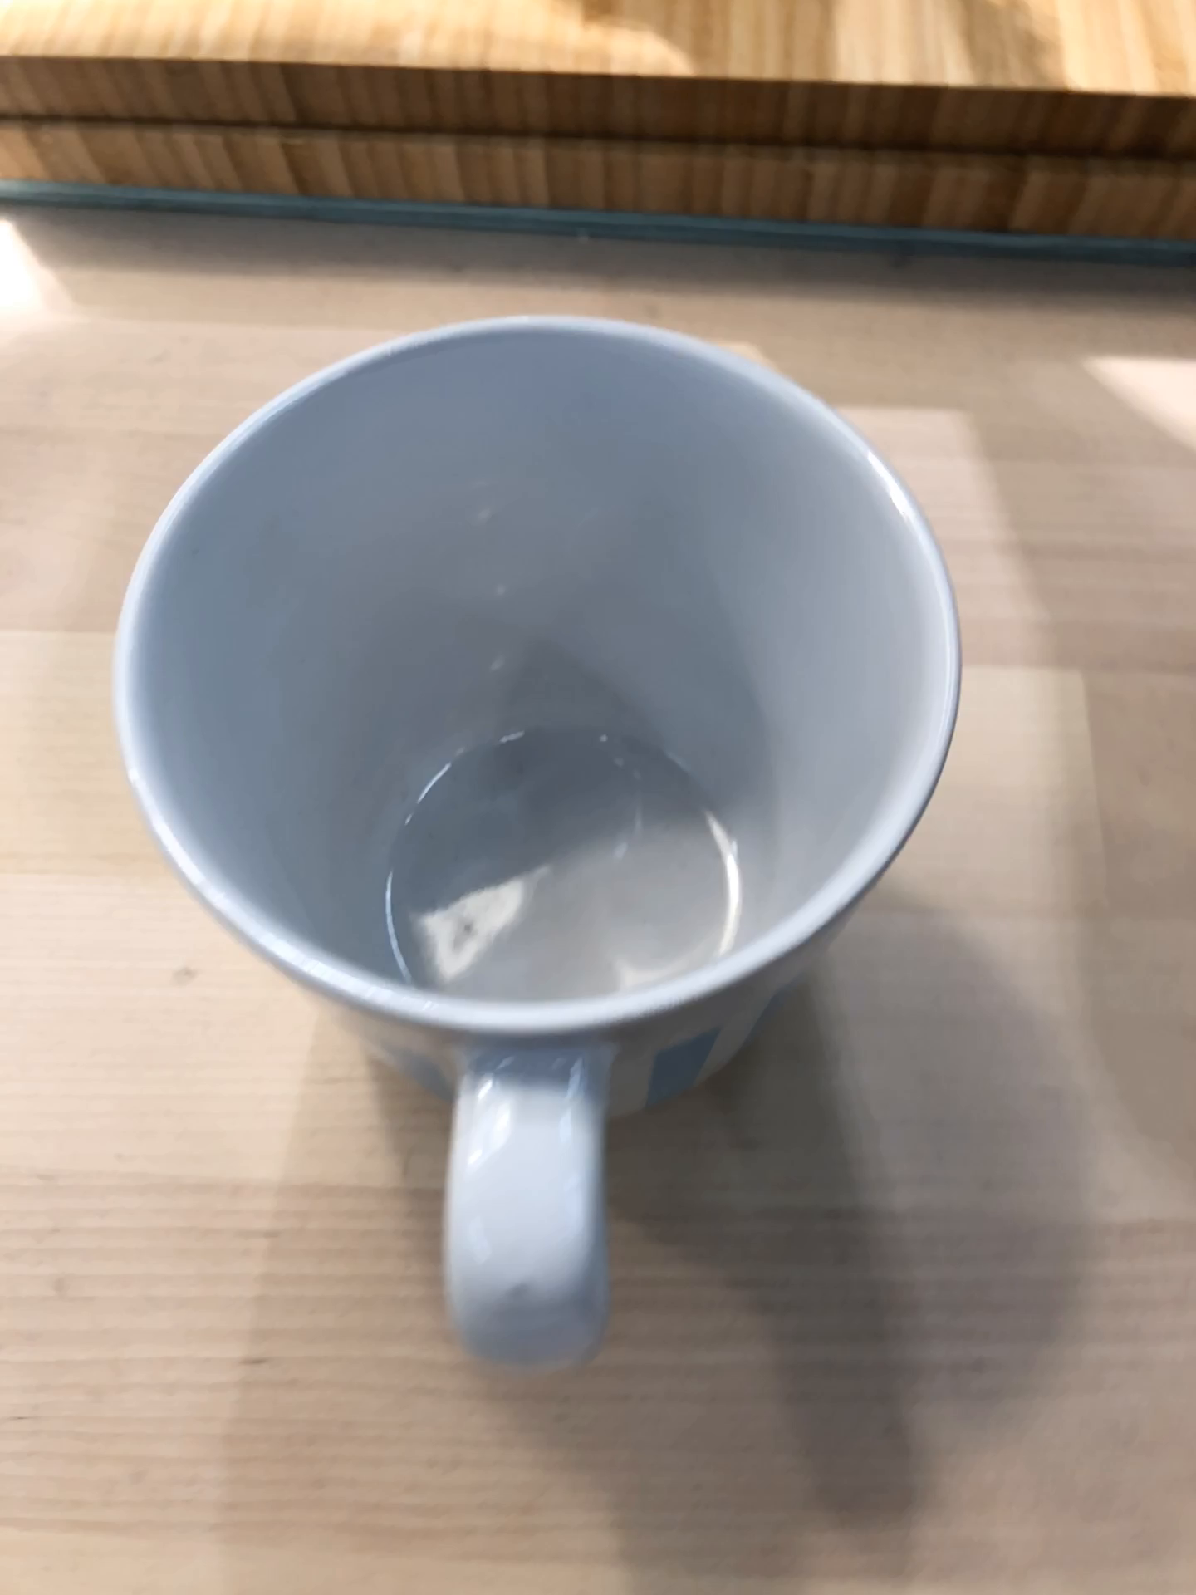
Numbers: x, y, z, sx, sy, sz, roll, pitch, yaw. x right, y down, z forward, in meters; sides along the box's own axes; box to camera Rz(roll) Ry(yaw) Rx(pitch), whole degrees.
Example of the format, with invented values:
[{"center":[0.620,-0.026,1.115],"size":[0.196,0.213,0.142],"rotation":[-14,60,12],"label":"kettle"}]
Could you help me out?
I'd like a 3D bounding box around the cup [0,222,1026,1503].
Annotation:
[{"center":[-0.007,0.010,0.154],"size":[0.080,0.080,0.120],"rotation":[2,63,3],"label":"cup"}]
